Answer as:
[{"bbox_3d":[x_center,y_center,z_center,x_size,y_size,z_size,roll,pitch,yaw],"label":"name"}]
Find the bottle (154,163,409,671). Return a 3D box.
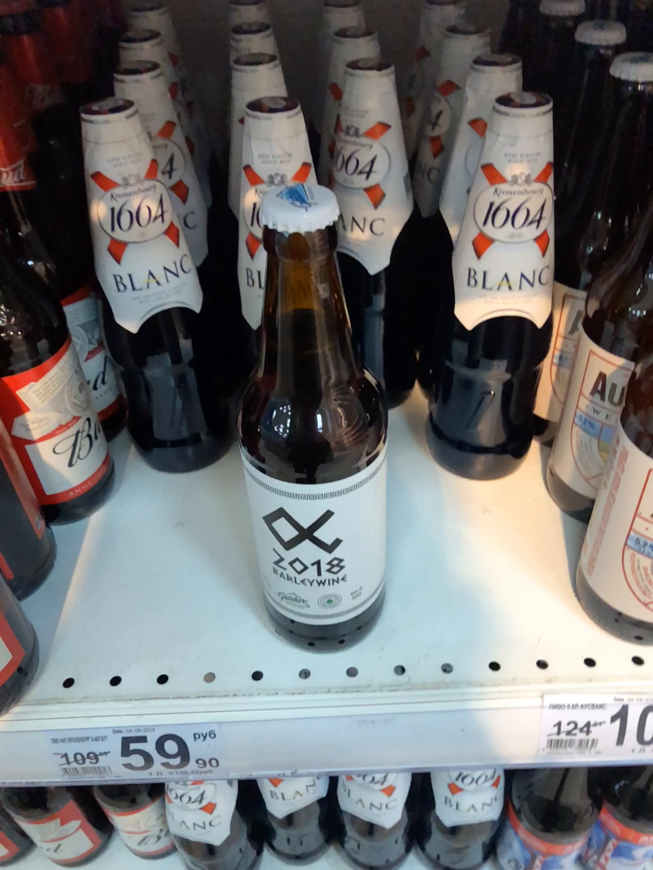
[{"bbox_3d":[-0.006,0.011,0.339,0.080,0.251,0.070,2,43,7],"label":"bottle"}]
